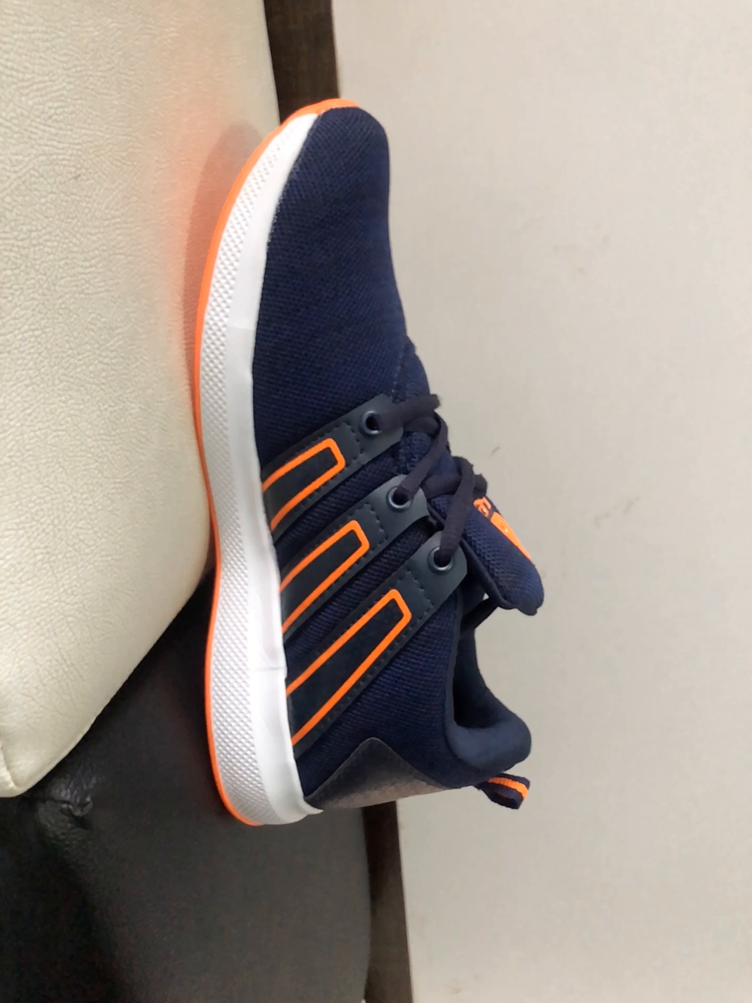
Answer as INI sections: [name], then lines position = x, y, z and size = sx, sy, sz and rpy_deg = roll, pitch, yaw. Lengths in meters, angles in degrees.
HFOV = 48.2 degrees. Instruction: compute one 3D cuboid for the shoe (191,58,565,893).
[shoe]
position = 0.006, -0.010, 0.339
size = 0.120, 0.110, 0.280
rpy_deg = -55, 149, -71
